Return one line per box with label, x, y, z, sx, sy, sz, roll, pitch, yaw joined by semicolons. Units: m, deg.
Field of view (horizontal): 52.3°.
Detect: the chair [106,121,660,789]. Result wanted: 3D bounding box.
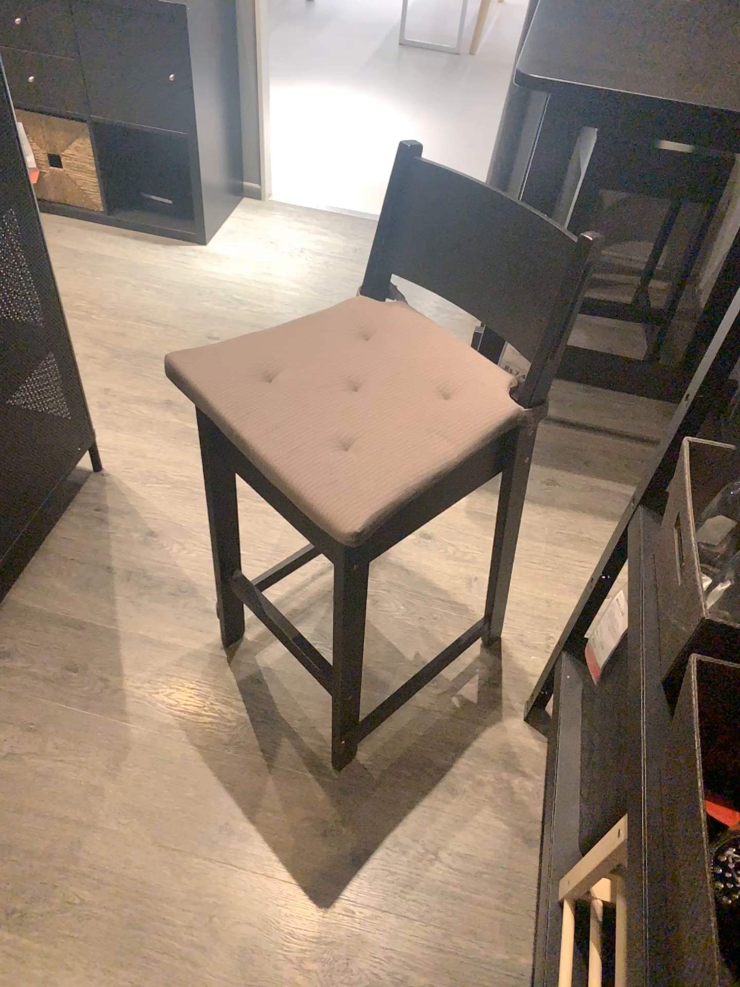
chair;-0.010;-0.021;1.247;0.501;0.887;0.461;-33;58;-30
